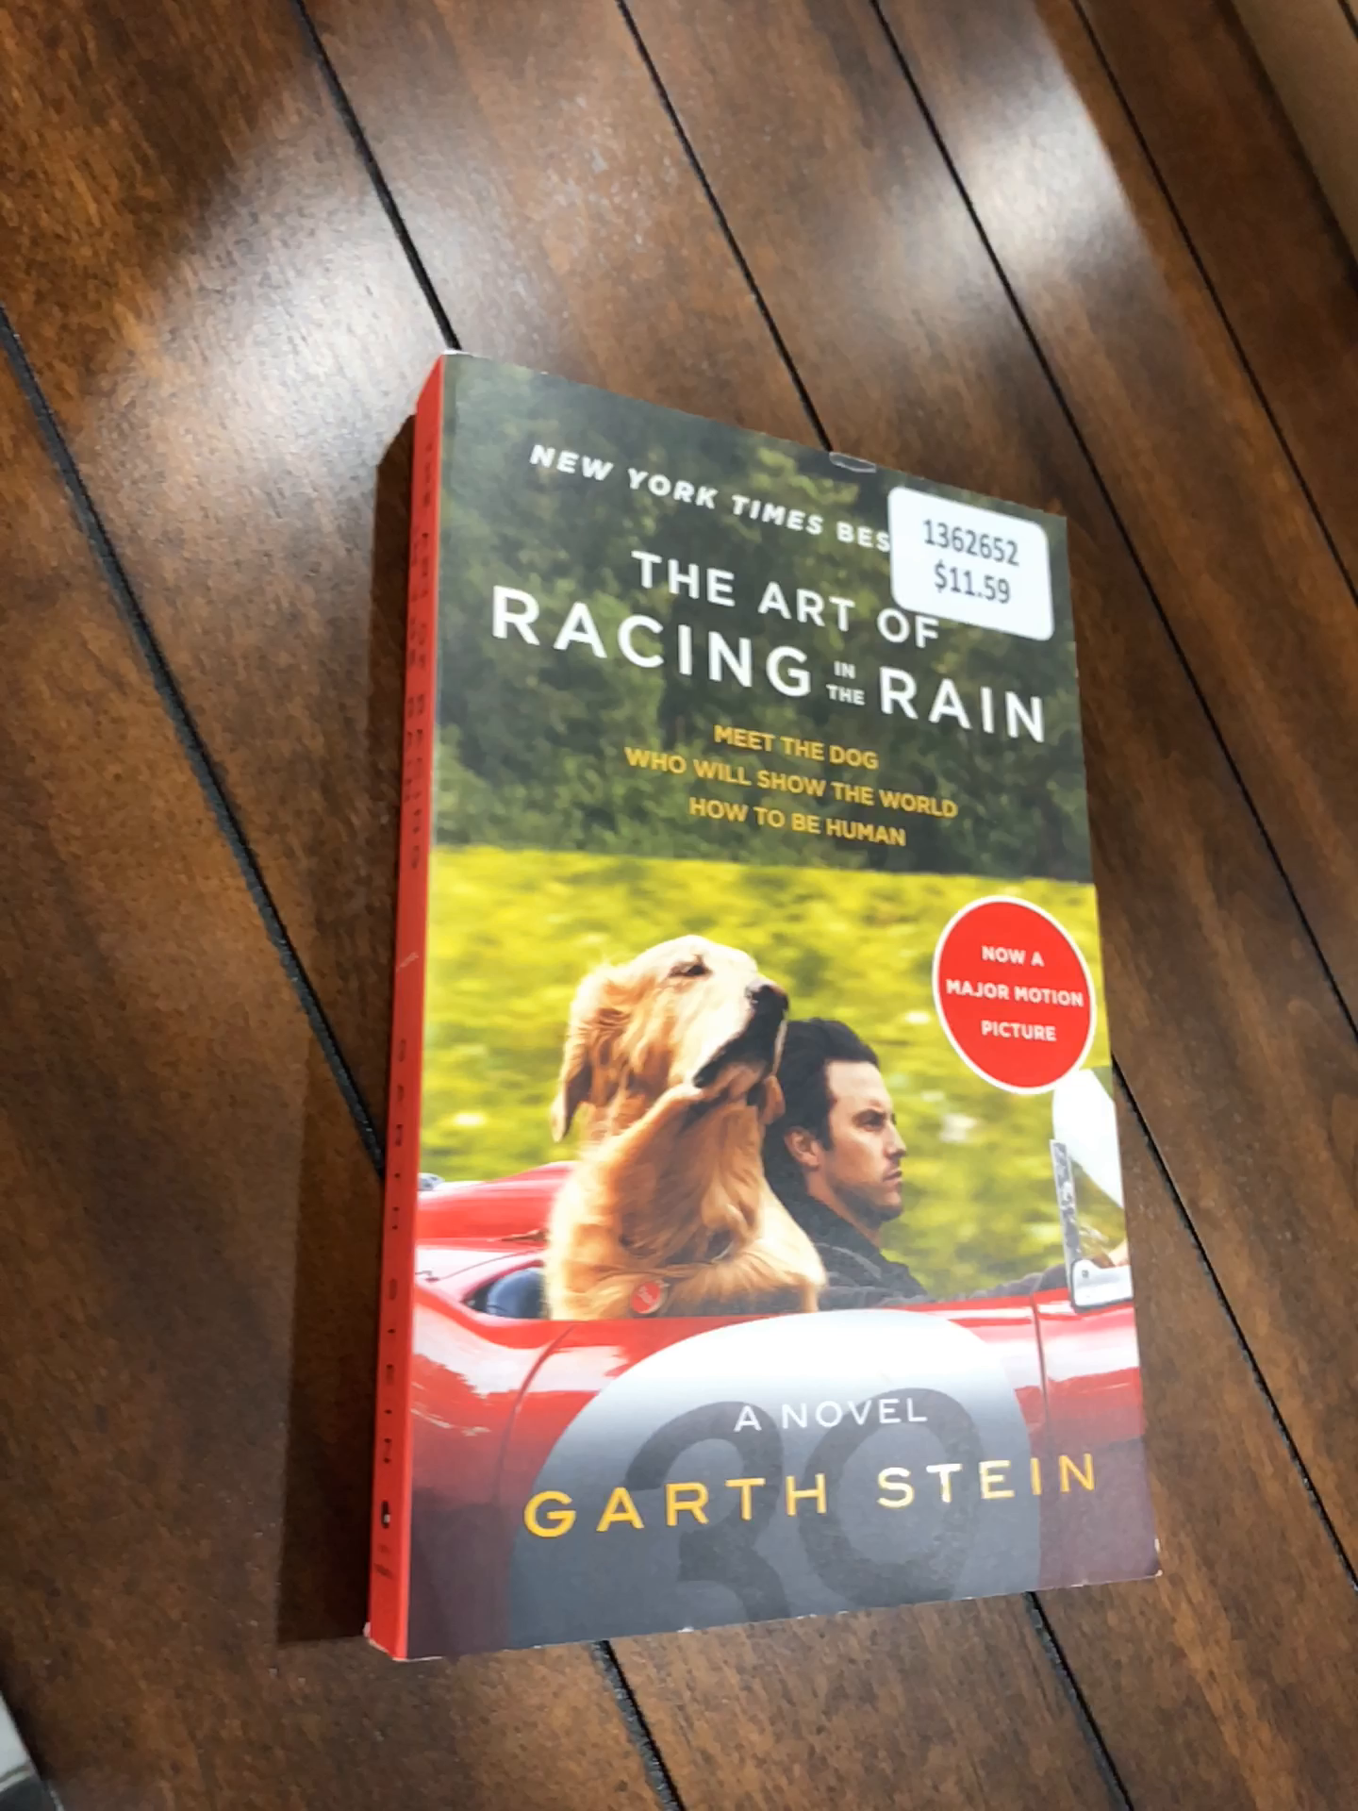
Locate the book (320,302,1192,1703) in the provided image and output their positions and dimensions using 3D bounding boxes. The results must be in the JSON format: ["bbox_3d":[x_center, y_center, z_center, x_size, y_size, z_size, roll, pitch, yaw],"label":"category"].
[{"bbox_3d":[0.016,0.012,0.266,0.140,0.028,0.210,7,72,-26],"label":"book"}]
